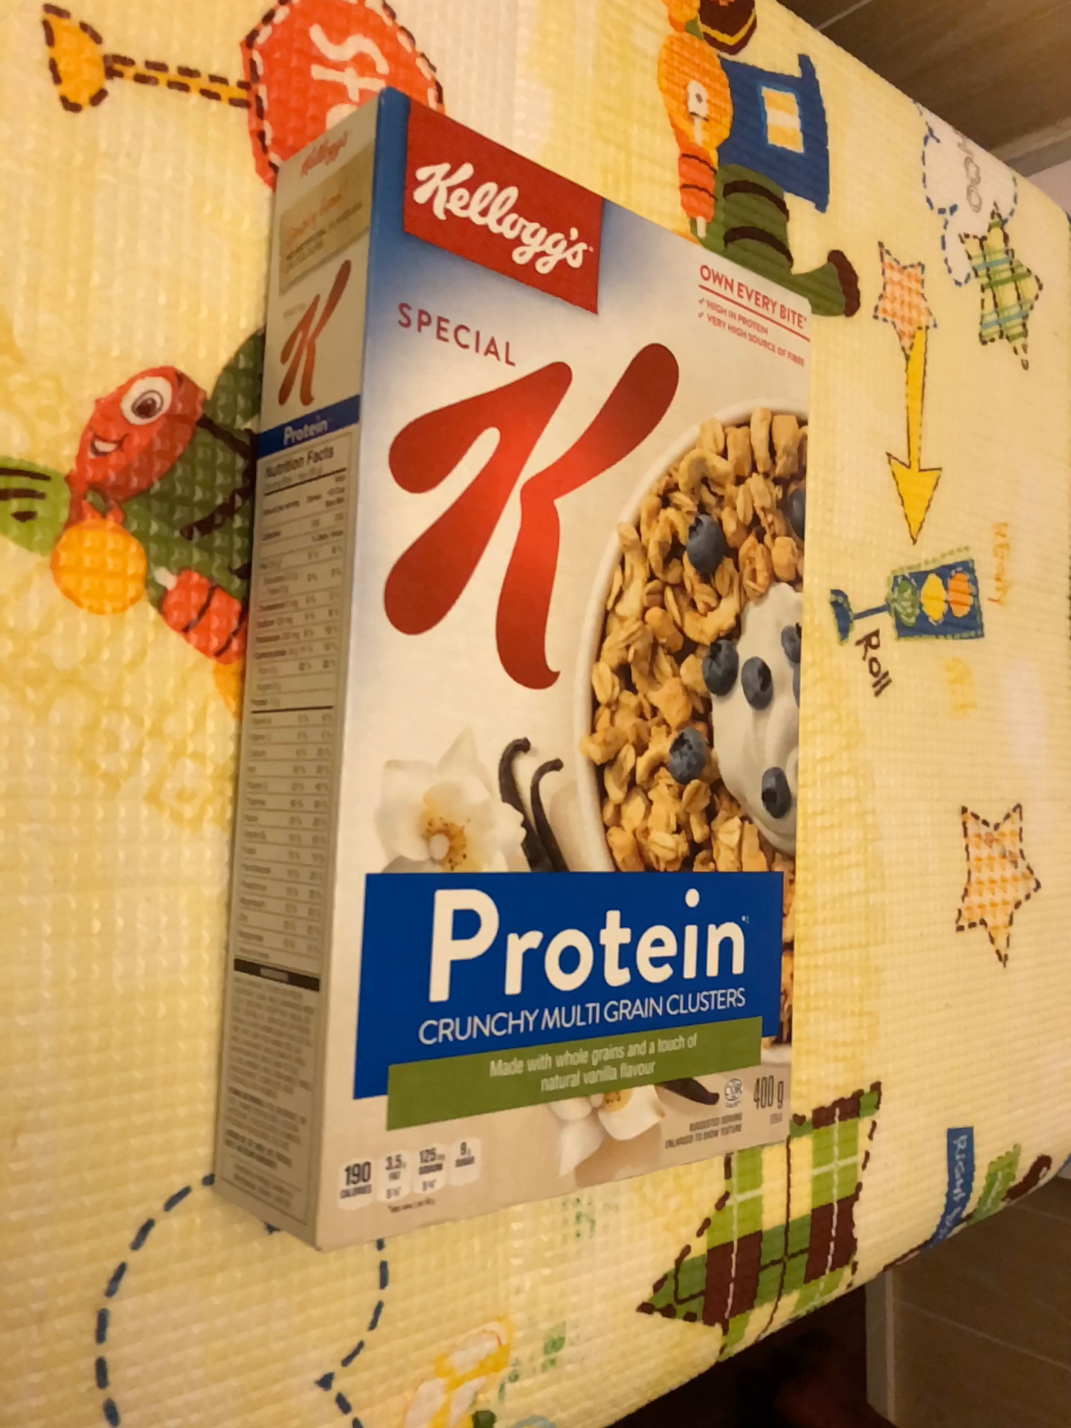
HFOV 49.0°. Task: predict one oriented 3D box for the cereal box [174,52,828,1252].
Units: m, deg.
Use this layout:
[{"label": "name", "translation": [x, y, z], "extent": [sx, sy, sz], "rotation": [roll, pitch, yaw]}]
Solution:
[{"label": "cereal box", "translation": [0.002, -0.009, 0.320], "extent": [0.161, 0.060, 0.250], "rotation": [8, 85, -43]}]
